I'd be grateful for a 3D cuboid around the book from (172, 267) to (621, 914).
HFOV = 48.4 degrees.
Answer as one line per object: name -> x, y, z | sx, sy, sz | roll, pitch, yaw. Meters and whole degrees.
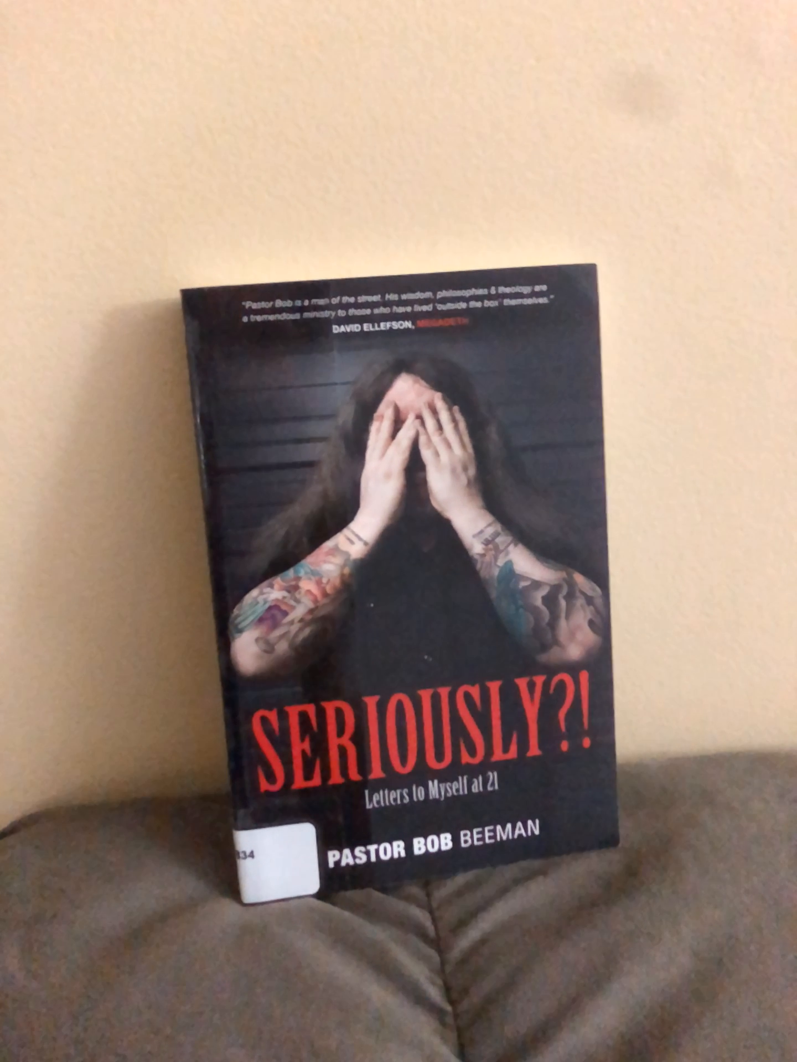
book -> 0.004, 0.019, 0.307 | 0.136, 0.205, 0.023 | -6, 8, -10
